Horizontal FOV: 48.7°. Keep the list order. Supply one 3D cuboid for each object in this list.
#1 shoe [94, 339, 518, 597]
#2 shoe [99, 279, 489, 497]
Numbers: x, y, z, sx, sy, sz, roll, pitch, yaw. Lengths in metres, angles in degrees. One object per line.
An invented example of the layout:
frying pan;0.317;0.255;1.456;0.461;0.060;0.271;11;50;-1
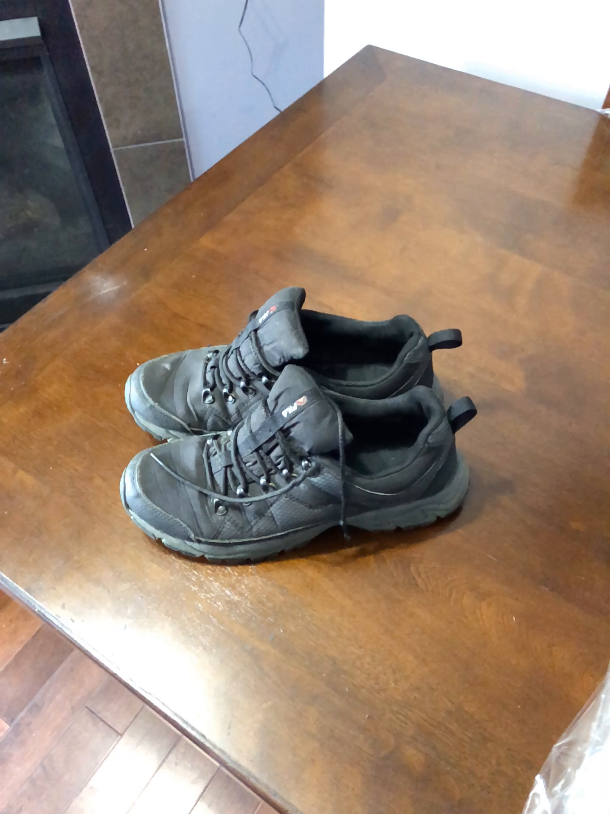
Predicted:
shoe;-0.003;0.056;0.597;0.320;0.150;0.120;-8;53;-5
shoe;-0.009;-0.014;0.658;0.320;0.170;0.120;-2;53;0
